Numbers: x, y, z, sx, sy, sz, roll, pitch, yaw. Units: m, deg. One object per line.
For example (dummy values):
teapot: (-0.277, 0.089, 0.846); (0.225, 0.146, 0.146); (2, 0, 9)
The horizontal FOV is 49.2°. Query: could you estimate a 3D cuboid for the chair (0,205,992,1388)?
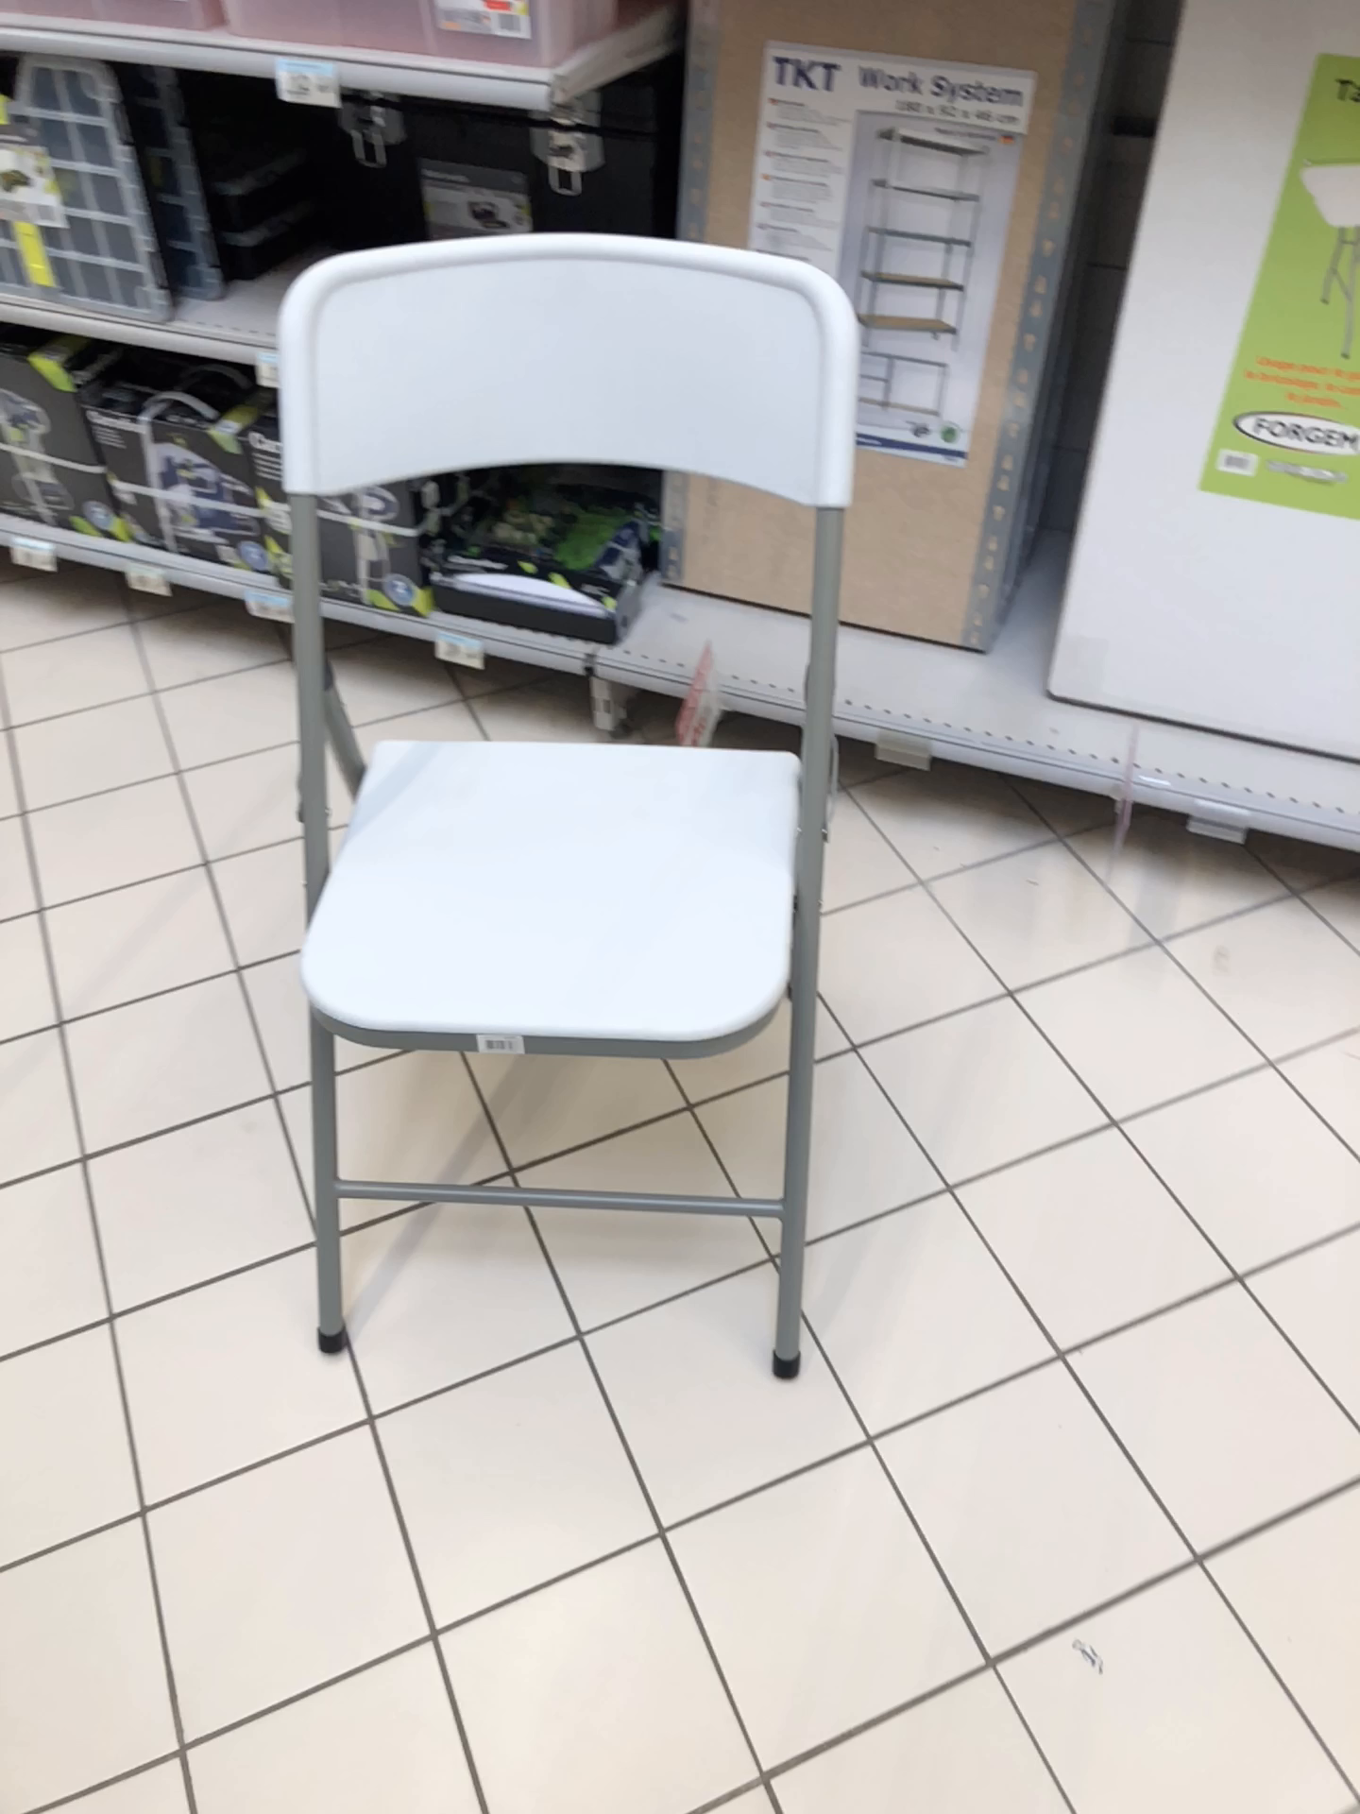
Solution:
chair: (-0.091, -0.074, 1.200); (0.540, 0.746, 0.563); (2, 44, 4)
